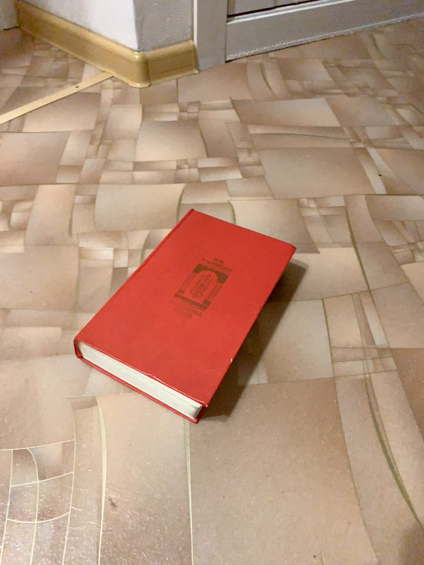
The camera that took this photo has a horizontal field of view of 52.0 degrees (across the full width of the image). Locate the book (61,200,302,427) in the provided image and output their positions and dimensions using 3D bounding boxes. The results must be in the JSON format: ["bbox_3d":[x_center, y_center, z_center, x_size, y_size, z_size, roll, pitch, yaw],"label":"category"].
[{"bbox_3d":[-0.018,0.013,0.423,0.140,0.050,0.201,21,52,21],"label":"book"}]
